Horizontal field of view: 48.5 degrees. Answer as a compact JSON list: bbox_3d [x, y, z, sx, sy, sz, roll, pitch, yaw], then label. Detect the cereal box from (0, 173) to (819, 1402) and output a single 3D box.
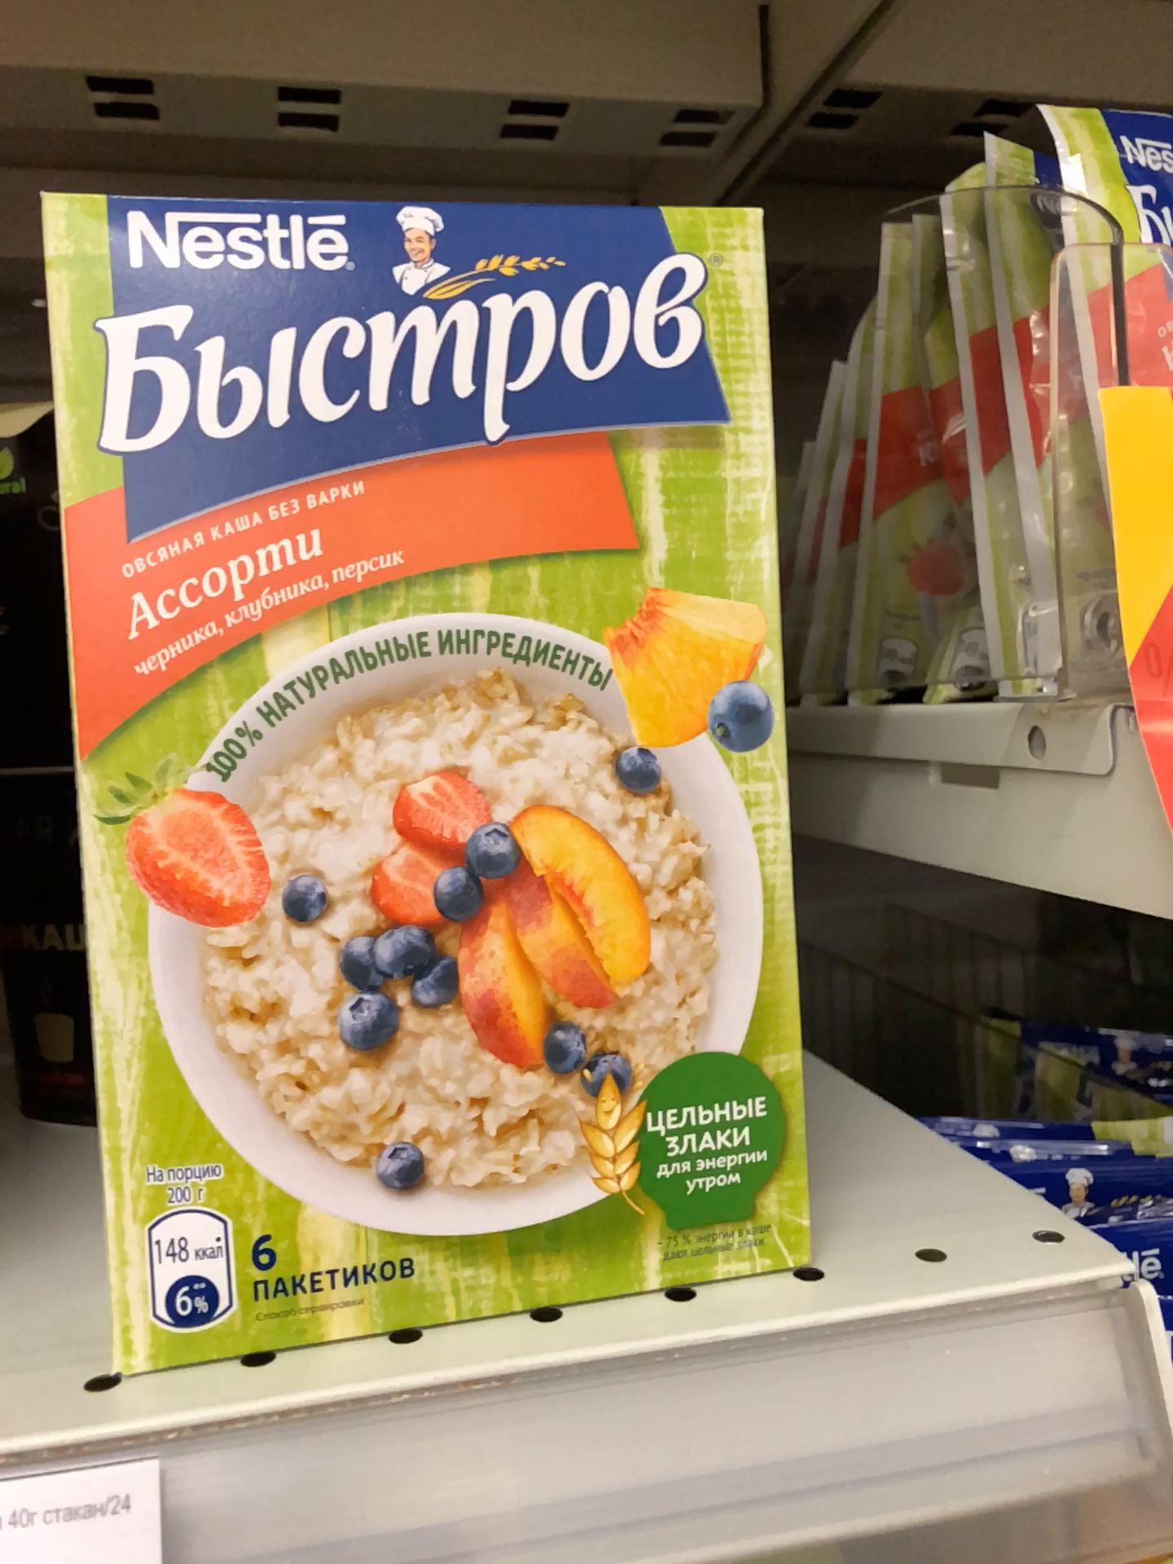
[{"bbox_3d":[-0.031,-0.003,0.249,0.130,0.200,0.050,-4,3,-12],"label":"cereal box"}]
